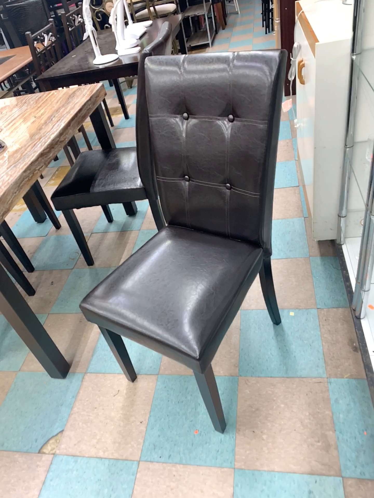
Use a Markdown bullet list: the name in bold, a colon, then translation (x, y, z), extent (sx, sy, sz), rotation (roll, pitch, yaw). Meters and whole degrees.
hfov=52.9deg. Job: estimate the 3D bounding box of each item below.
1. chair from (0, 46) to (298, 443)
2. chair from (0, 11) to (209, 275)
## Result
- **chair**: translation (-0.005, 0.006, 1.144), extent (0.471, 0.955, 0.572), rotation (16, 48, 32)
- **chair**: translation (-0.310, -0.474, 1.820), extent (0.650, 0.955, 0.673), rotation (-6, 40, 11)
